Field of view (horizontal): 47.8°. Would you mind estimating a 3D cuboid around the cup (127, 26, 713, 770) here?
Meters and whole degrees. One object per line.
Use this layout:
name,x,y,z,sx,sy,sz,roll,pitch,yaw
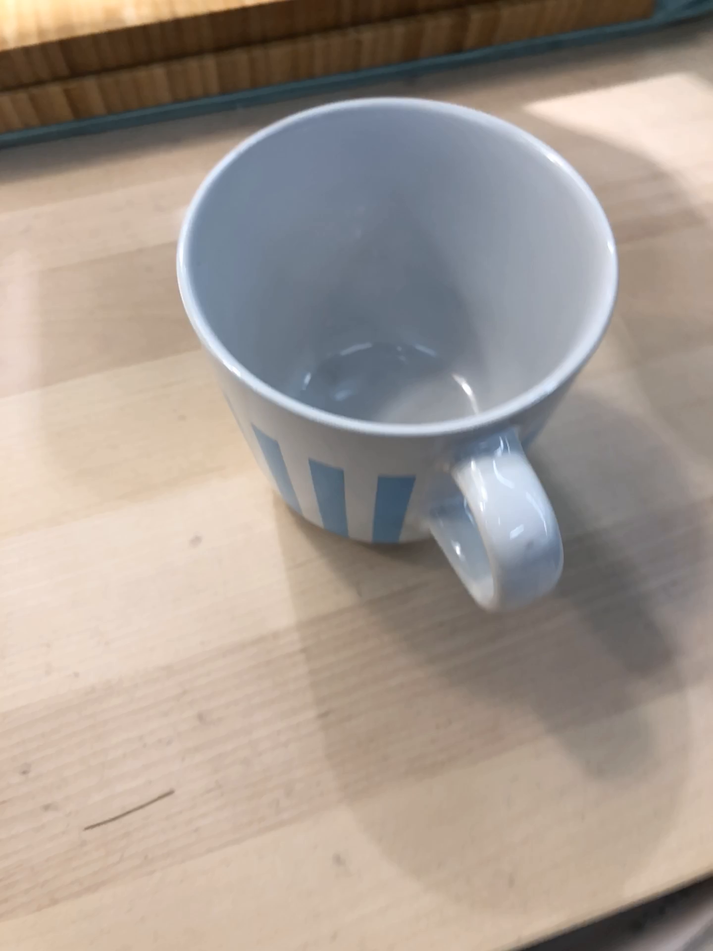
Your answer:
cup,0.011,-0.015,0.174,0.080,0.080,0.120,-16,64,-8
